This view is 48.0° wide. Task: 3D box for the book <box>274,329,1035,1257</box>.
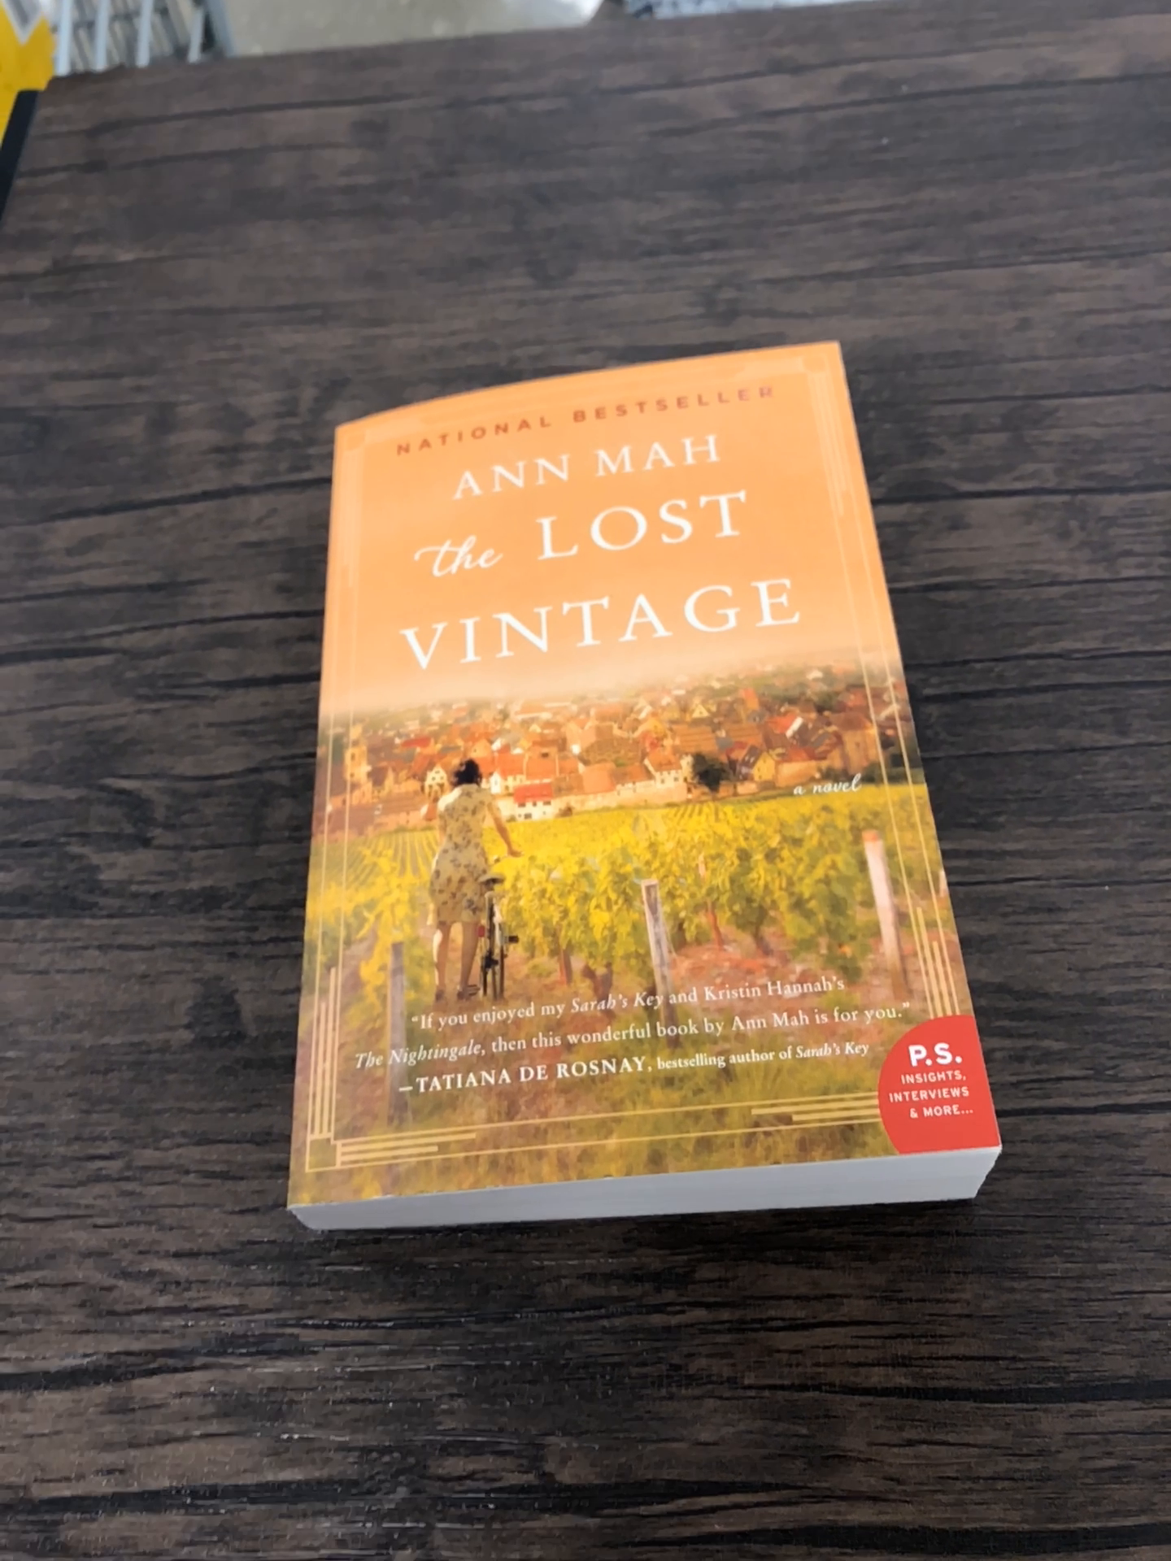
[{"bbox_3d":[0.008,-0.006,0.296,0.134,0.040,0.200,-6,61,5],"label":"book"}]
